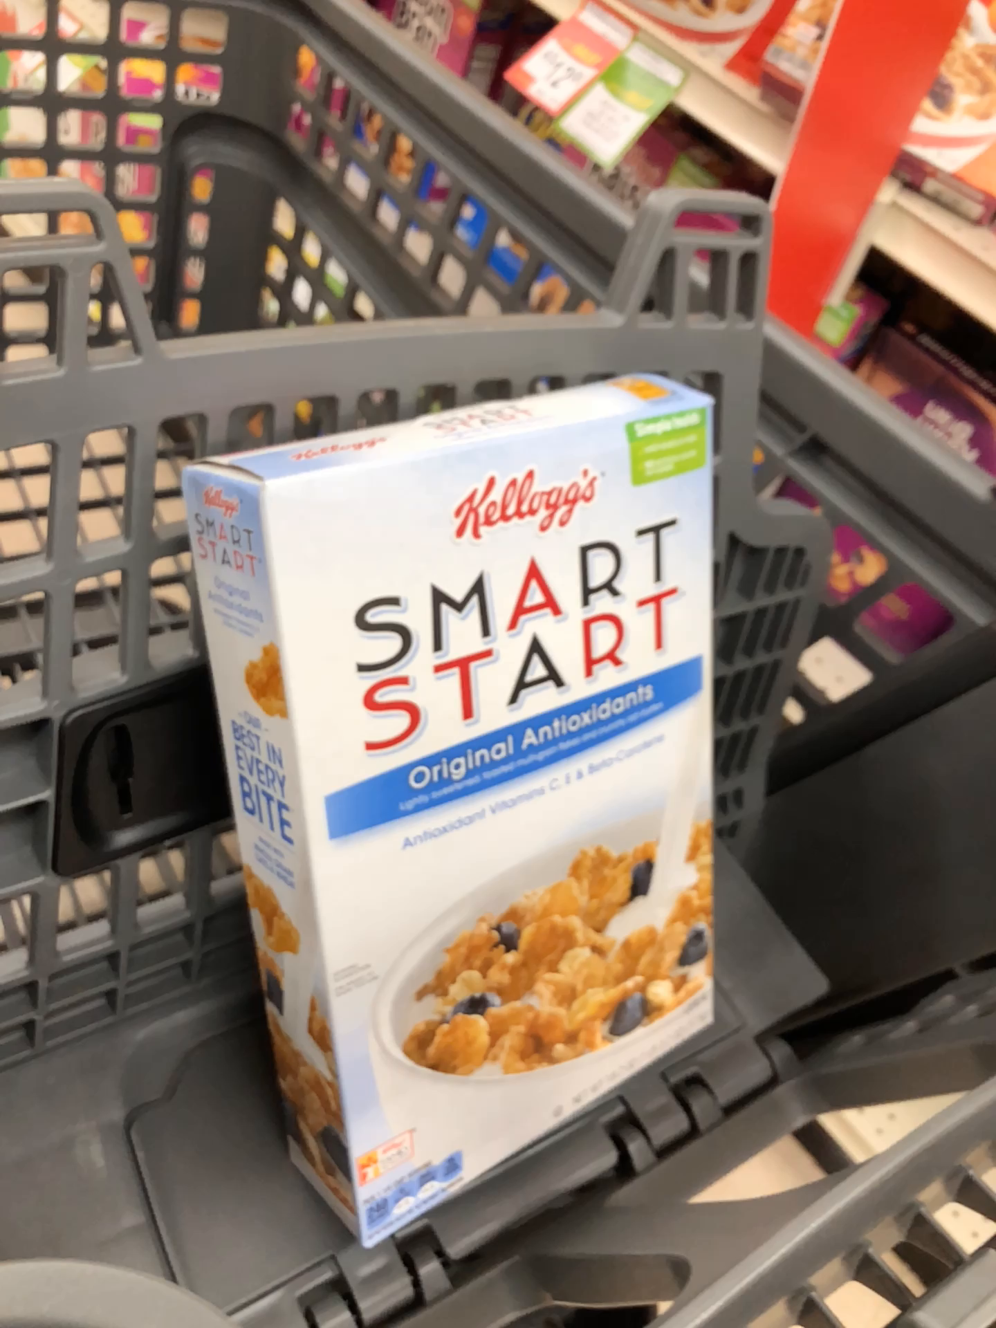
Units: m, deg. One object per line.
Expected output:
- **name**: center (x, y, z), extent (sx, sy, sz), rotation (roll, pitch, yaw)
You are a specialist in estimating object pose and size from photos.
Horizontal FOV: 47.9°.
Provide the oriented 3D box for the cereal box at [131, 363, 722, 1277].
- **cereal box**: center (-0.008, 0.049, 0.439), extent (0.200, 0.300, 0.070), rotation (-18, 25, -35)
